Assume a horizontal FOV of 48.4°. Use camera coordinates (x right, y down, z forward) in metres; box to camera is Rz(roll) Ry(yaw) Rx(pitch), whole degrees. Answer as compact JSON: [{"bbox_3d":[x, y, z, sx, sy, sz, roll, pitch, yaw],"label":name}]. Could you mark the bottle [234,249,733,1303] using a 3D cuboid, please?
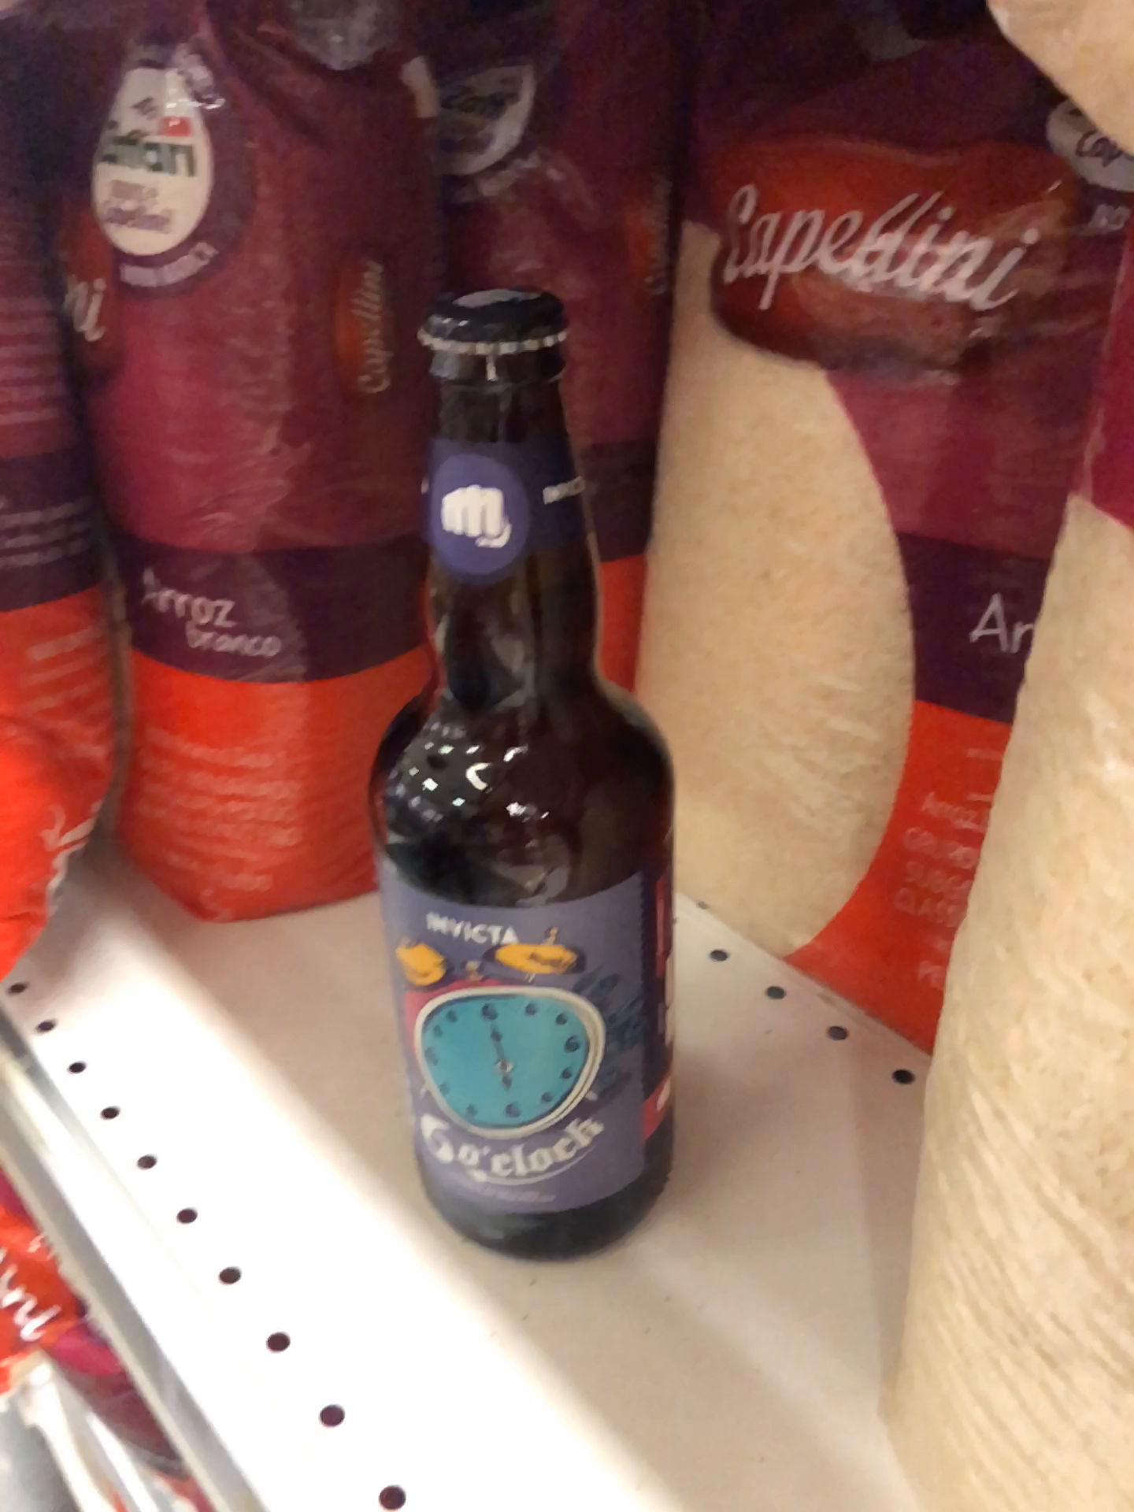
[{"bbox_3d":[-0.007,0.014,0.286,0.070,0.228,0.071,-2,32,1],"label":"bottle"}]
